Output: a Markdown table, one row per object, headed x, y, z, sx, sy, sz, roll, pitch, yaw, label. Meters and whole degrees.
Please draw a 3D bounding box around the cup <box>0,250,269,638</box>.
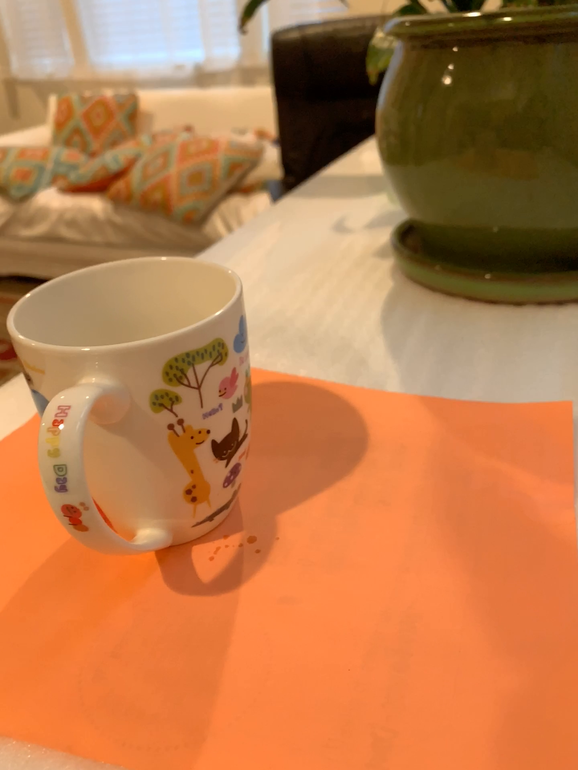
| x | y | z | sx | sy | sz | roll | pitch | yaw | label |
| --- | --- | --- | --- | --- | --- | --- | --- | --- | --- |
| -0.063 | 0.013 | 0.232 | 0.090 | 0.089 | 0.121 | 0 | 31 | 7 | cup |
